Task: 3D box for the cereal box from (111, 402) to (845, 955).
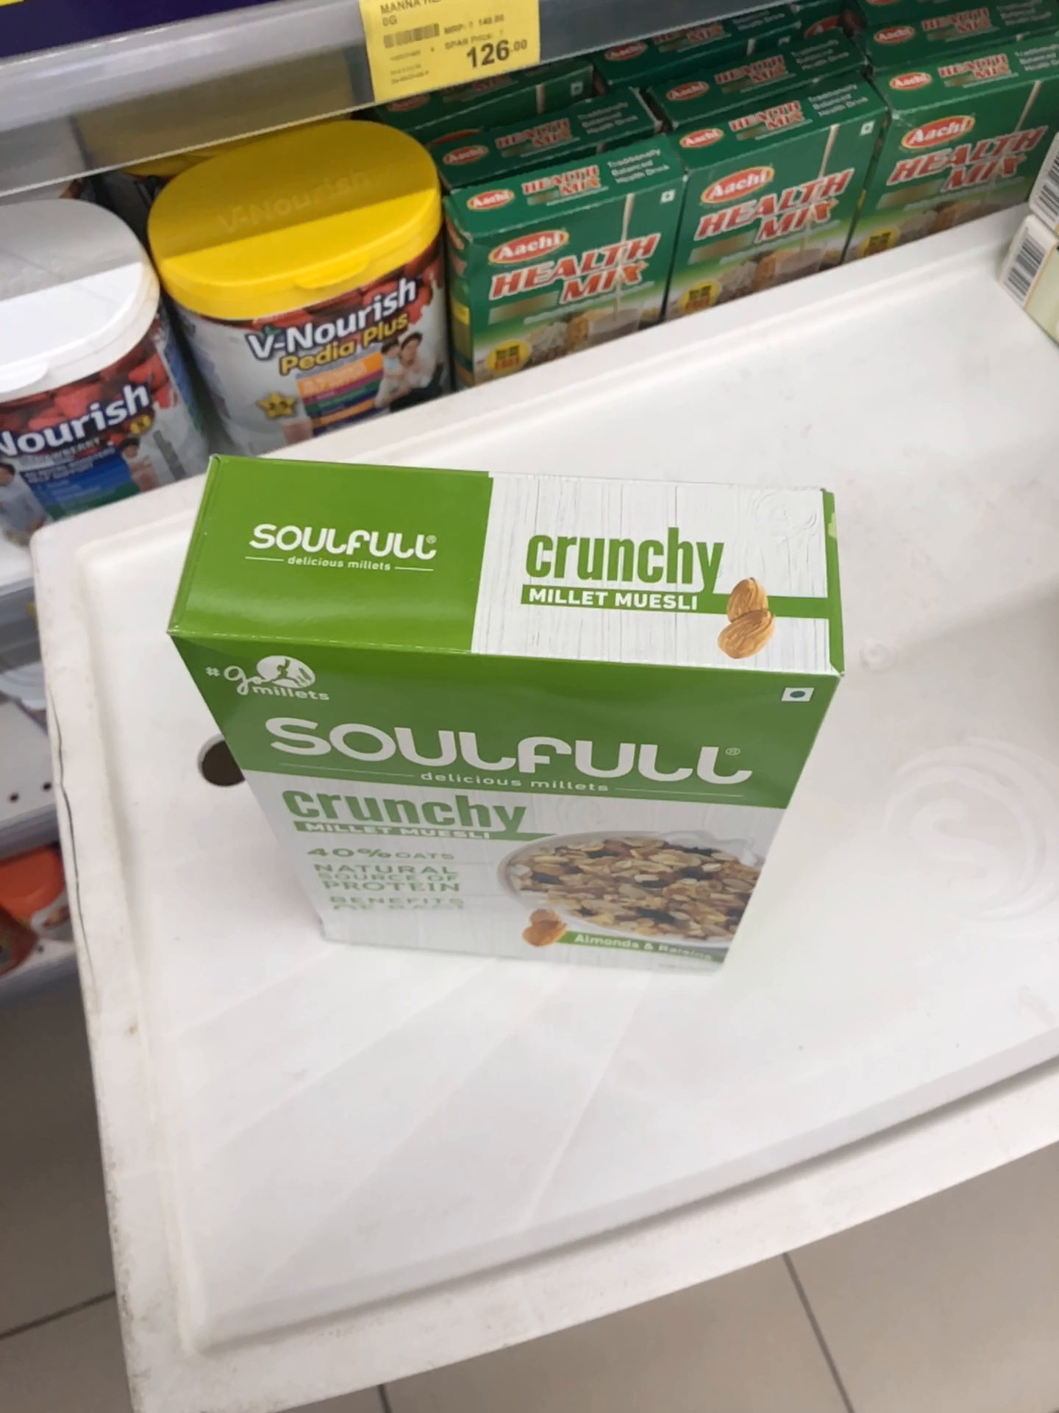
[{"bbox_3d":[-0.005,0.011,0.413,0.180,0.250,0.070,5,64,5],"label":"cereal box"}]
